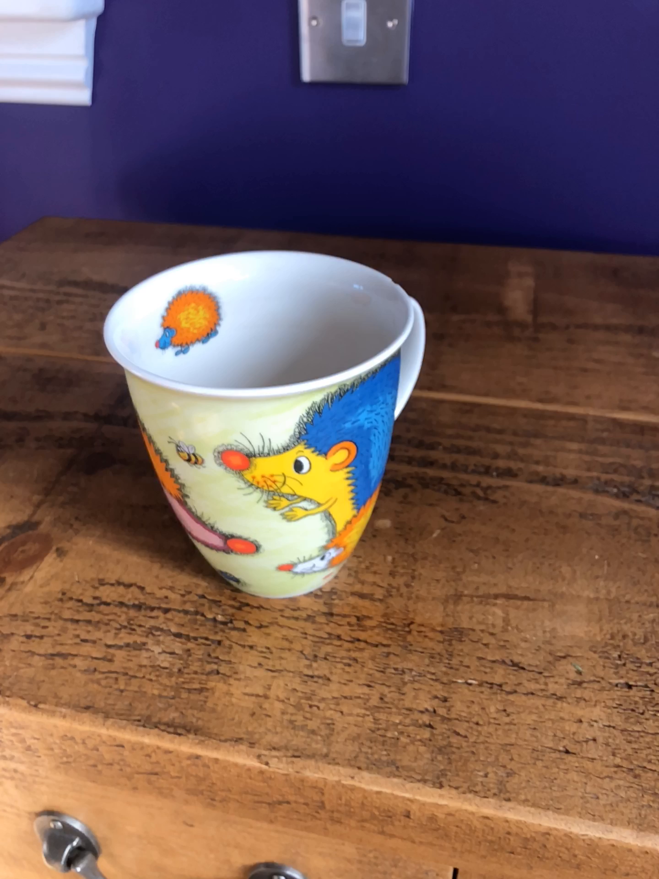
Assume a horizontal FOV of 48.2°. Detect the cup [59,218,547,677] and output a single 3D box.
[{"bbox_3d":[-0.005,-0.010,0.275,0.107,0.089,0.128,27,44,33],"label":"cup"}]
